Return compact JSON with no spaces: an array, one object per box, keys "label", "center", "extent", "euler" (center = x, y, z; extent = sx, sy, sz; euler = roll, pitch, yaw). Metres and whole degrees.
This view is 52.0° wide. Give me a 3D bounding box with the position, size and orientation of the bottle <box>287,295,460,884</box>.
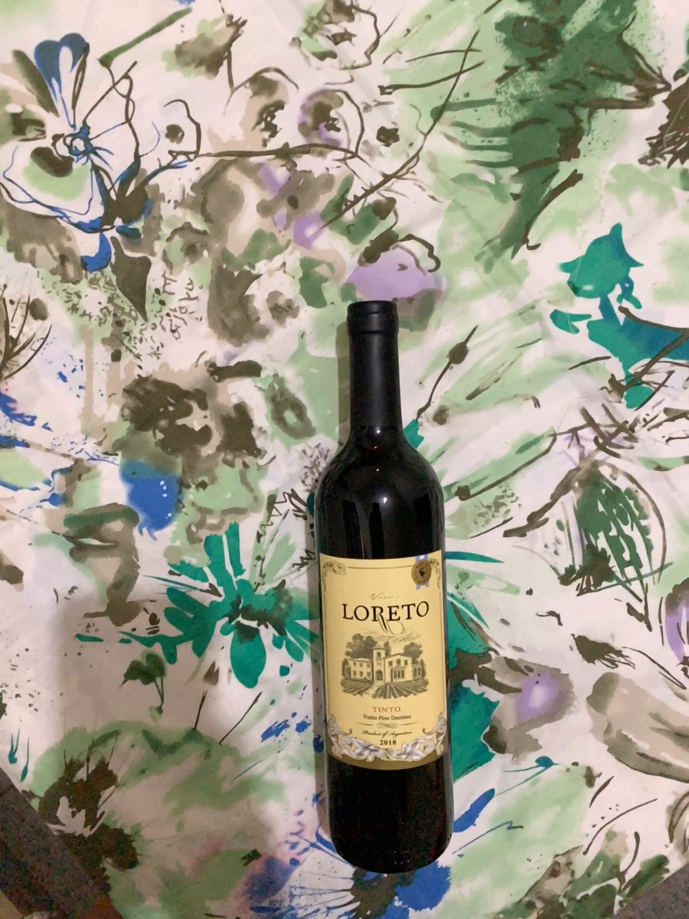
[{"label":"bottle","center":[0.016,0.071,0.391],"extent":[0.080,0.050,0.310],"euler":[-2,96,-2]}]
